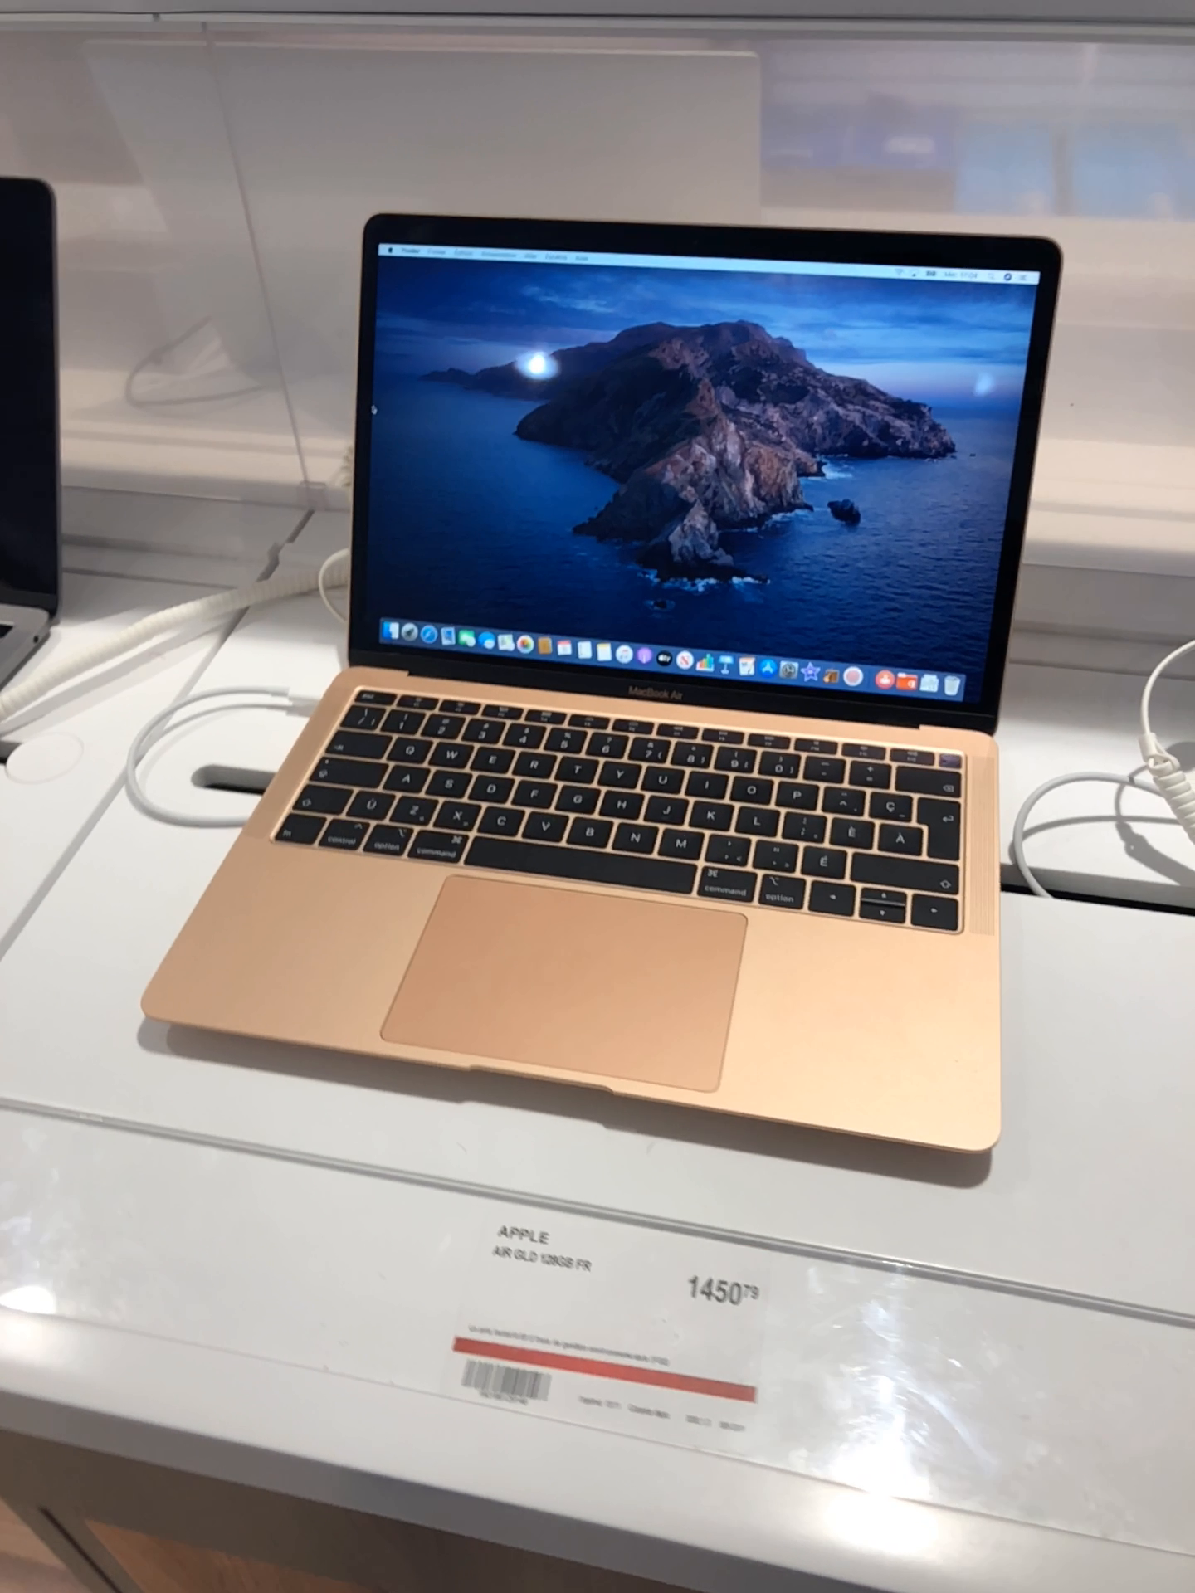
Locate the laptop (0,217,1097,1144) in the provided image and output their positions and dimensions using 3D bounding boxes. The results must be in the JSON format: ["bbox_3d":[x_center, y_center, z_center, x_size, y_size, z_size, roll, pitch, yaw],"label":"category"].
[{"bbox_3d":[0.011,-0.071,0.502,0.291,0.170,0.304,7,44,10],"label":"laptop"}]
